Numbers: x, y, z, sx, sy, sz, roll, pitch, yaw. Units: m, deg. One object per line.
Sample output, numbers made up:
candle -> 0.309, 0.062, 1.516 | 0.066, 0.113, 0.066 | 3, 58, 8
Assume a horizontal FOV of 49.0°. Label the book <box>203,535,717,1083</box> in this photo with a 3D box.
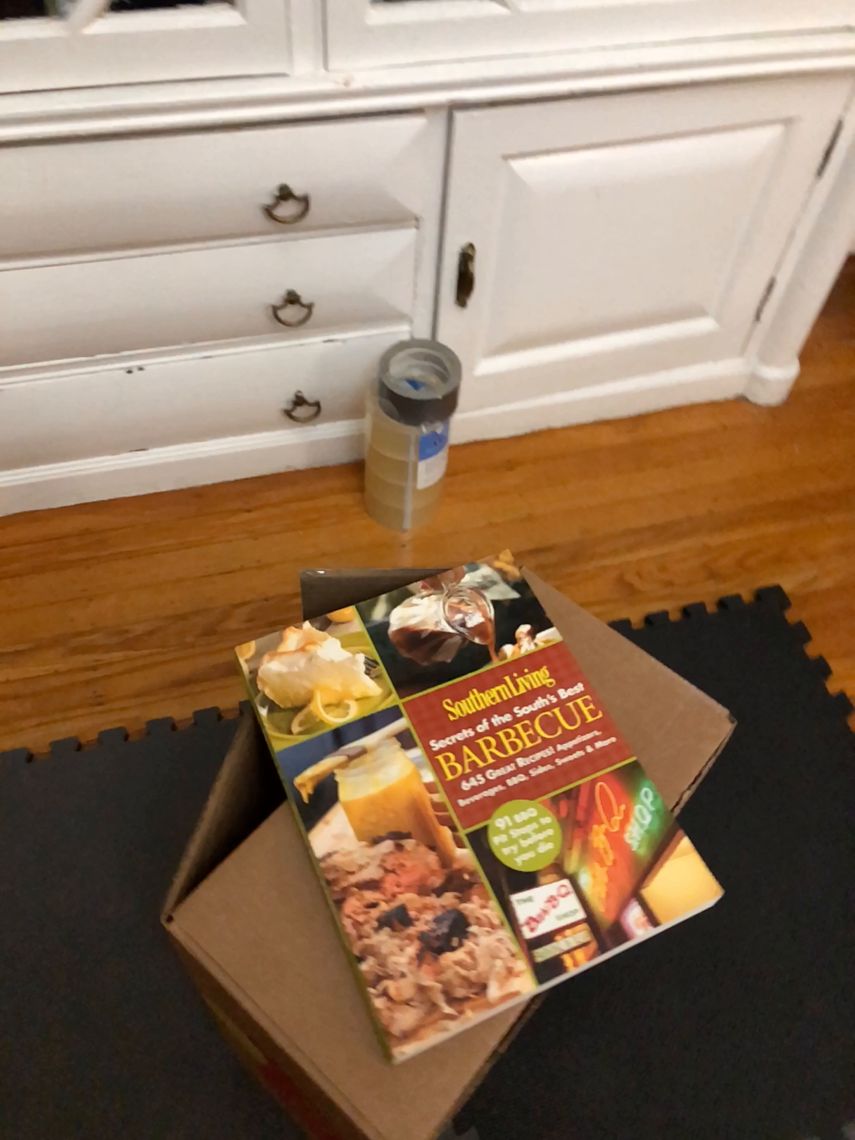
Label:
book -> 0.008, 0.124, 0.598 | 0.220, 0.020, 0.291 | -19, 58, -16
